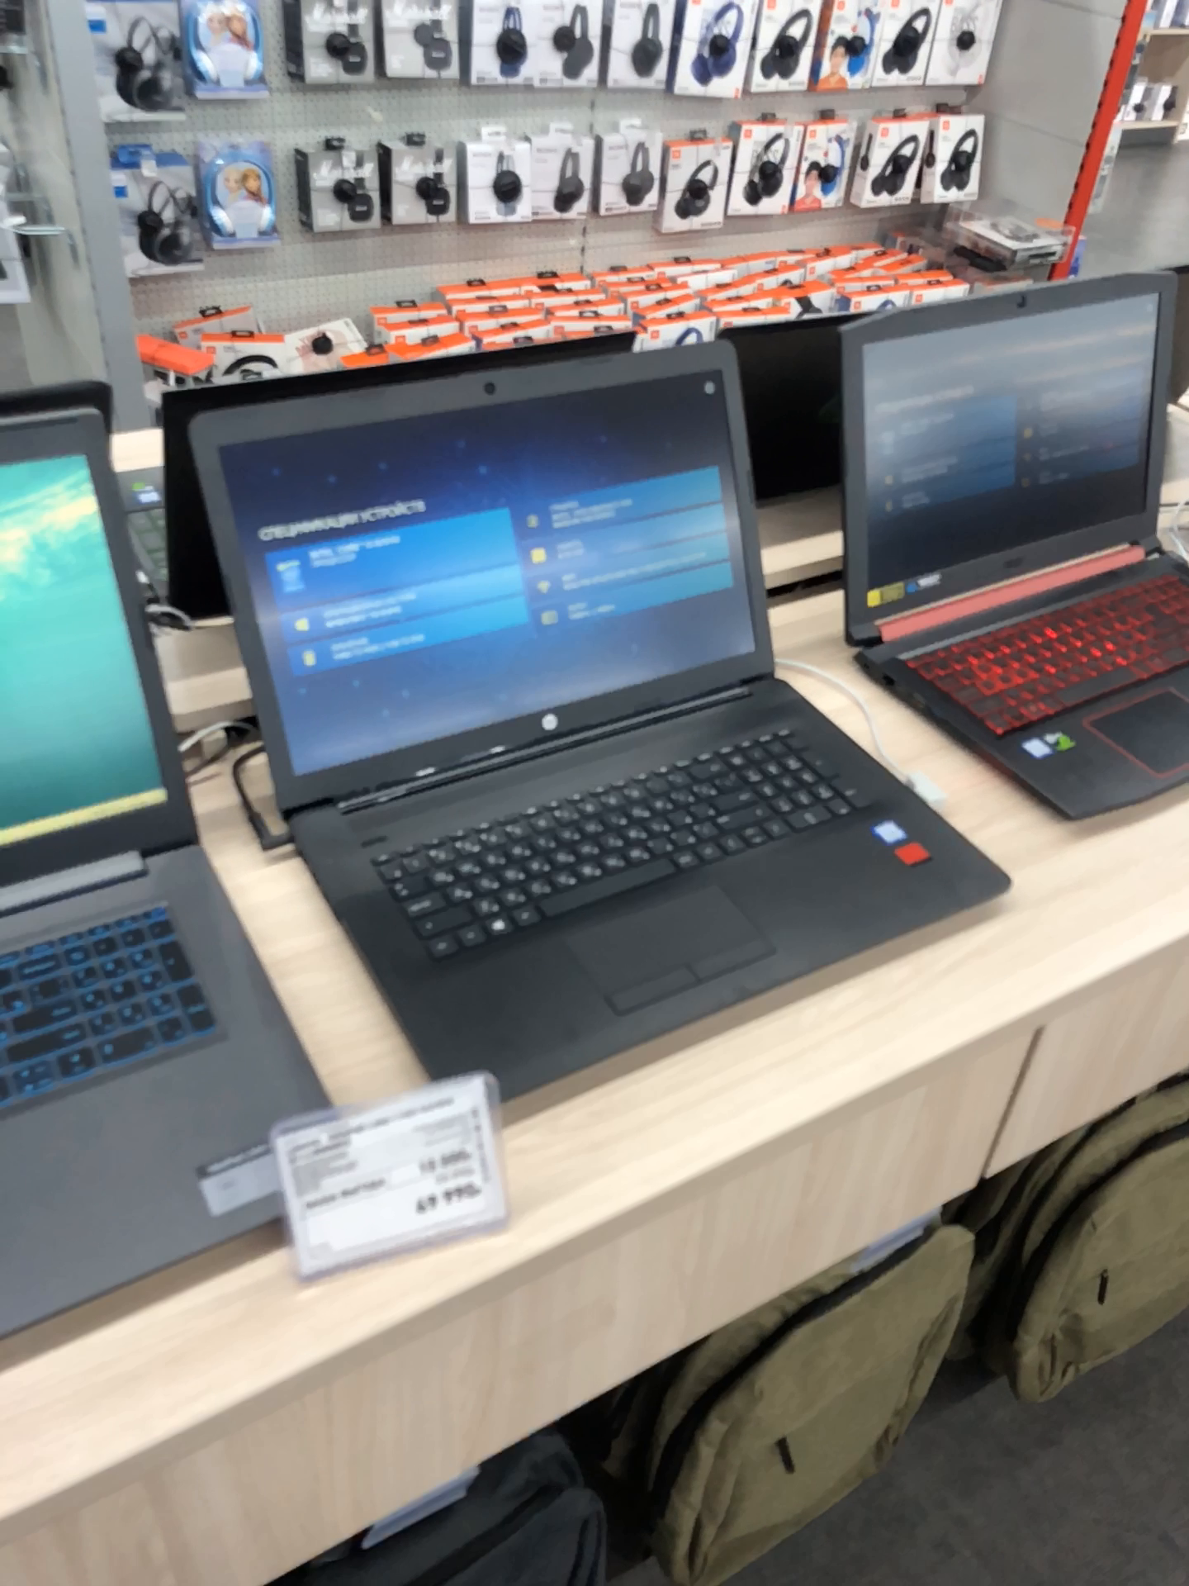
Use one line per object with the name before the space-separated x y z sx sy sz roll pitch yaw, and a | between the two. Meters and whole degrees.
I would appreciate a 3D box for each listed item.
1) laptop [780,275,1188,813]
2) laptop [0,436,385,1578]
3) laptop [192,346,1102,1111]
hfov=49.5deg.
laptop | 0.432 -0.216 1.016 0.403 0.224 0.303 -20 48 -28
laptop | -0.367 0.038 0.575 0.381 0.226 0.373 -17 45 -31
laptop | 0.012 -0.082 0.804 0.388 0.213 0.374 -18 45 -27
